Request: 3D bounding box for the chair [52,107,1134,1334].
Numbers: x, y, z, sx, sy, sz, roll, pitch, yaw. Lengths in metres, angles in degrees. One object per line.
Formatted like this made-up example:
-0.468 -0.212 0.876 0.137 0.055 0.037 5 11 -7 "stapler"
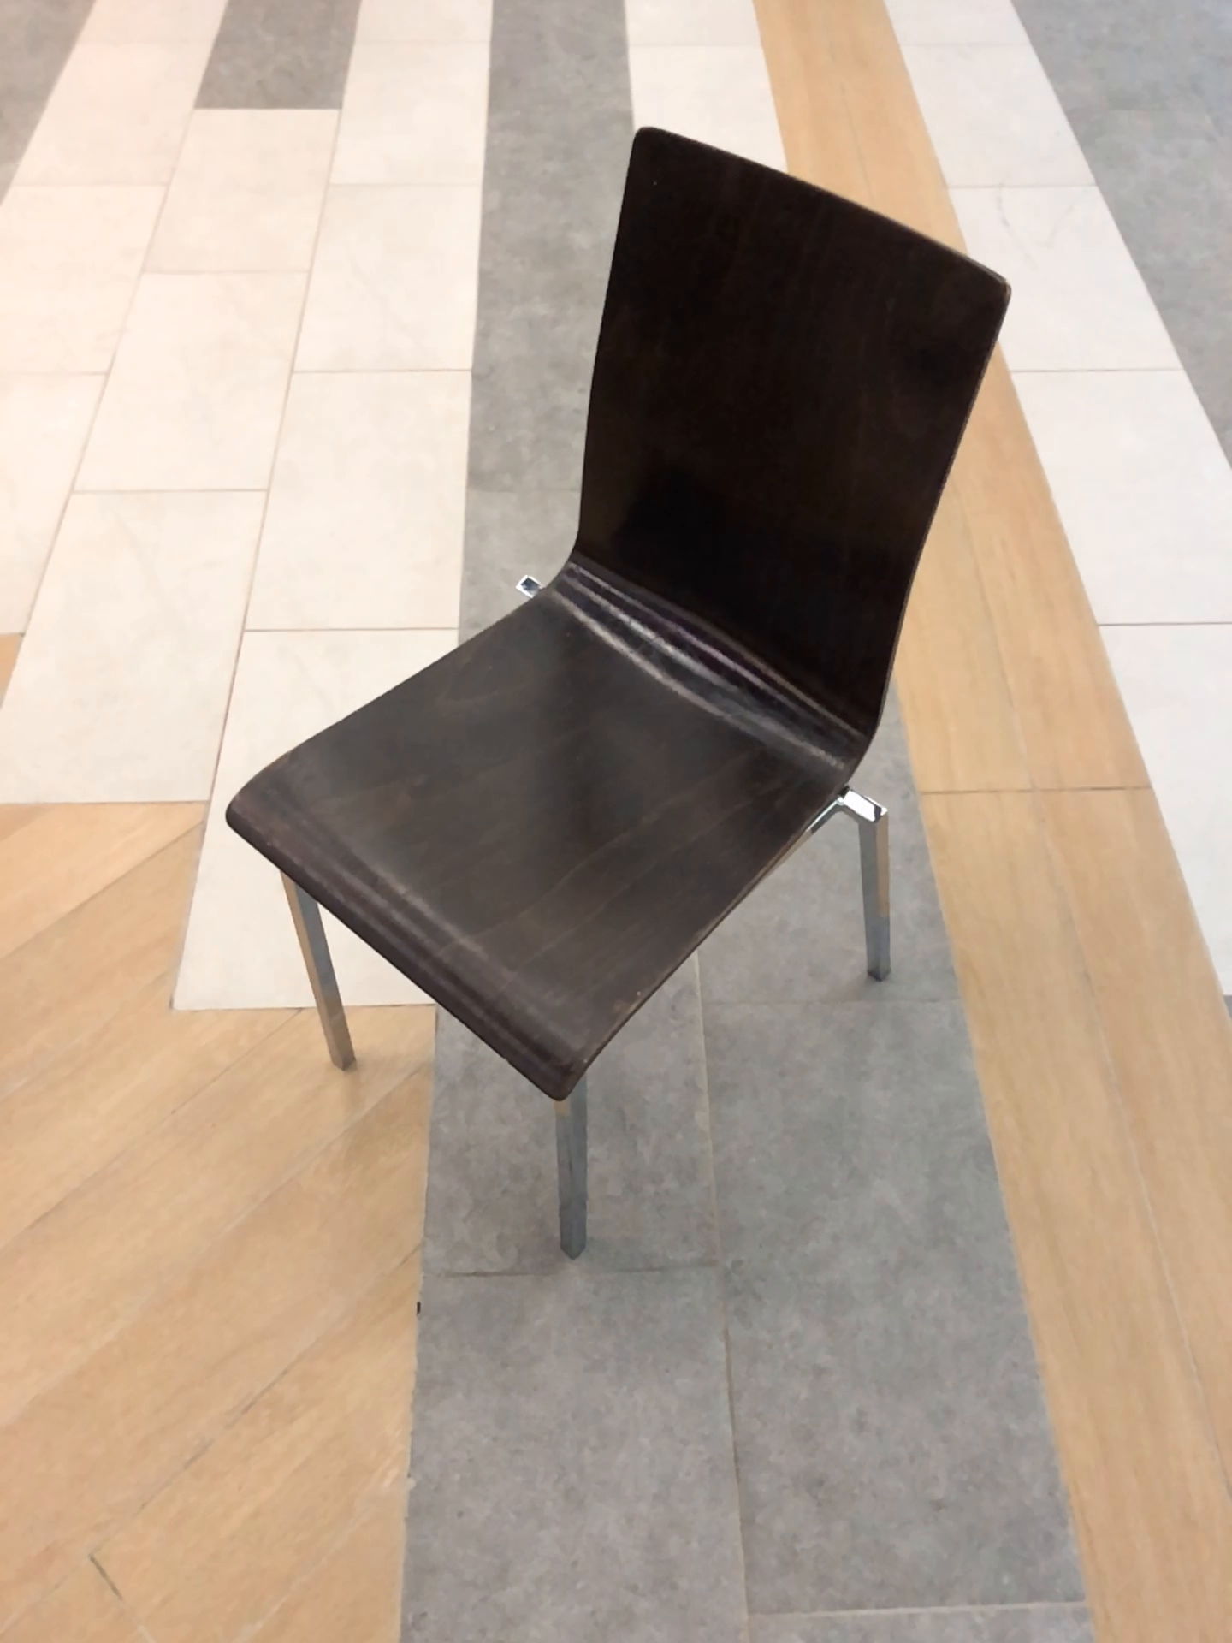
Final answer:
-0.004 -0.032 1.191 0.434 0.847 0.543 36 60 23 "chair"
